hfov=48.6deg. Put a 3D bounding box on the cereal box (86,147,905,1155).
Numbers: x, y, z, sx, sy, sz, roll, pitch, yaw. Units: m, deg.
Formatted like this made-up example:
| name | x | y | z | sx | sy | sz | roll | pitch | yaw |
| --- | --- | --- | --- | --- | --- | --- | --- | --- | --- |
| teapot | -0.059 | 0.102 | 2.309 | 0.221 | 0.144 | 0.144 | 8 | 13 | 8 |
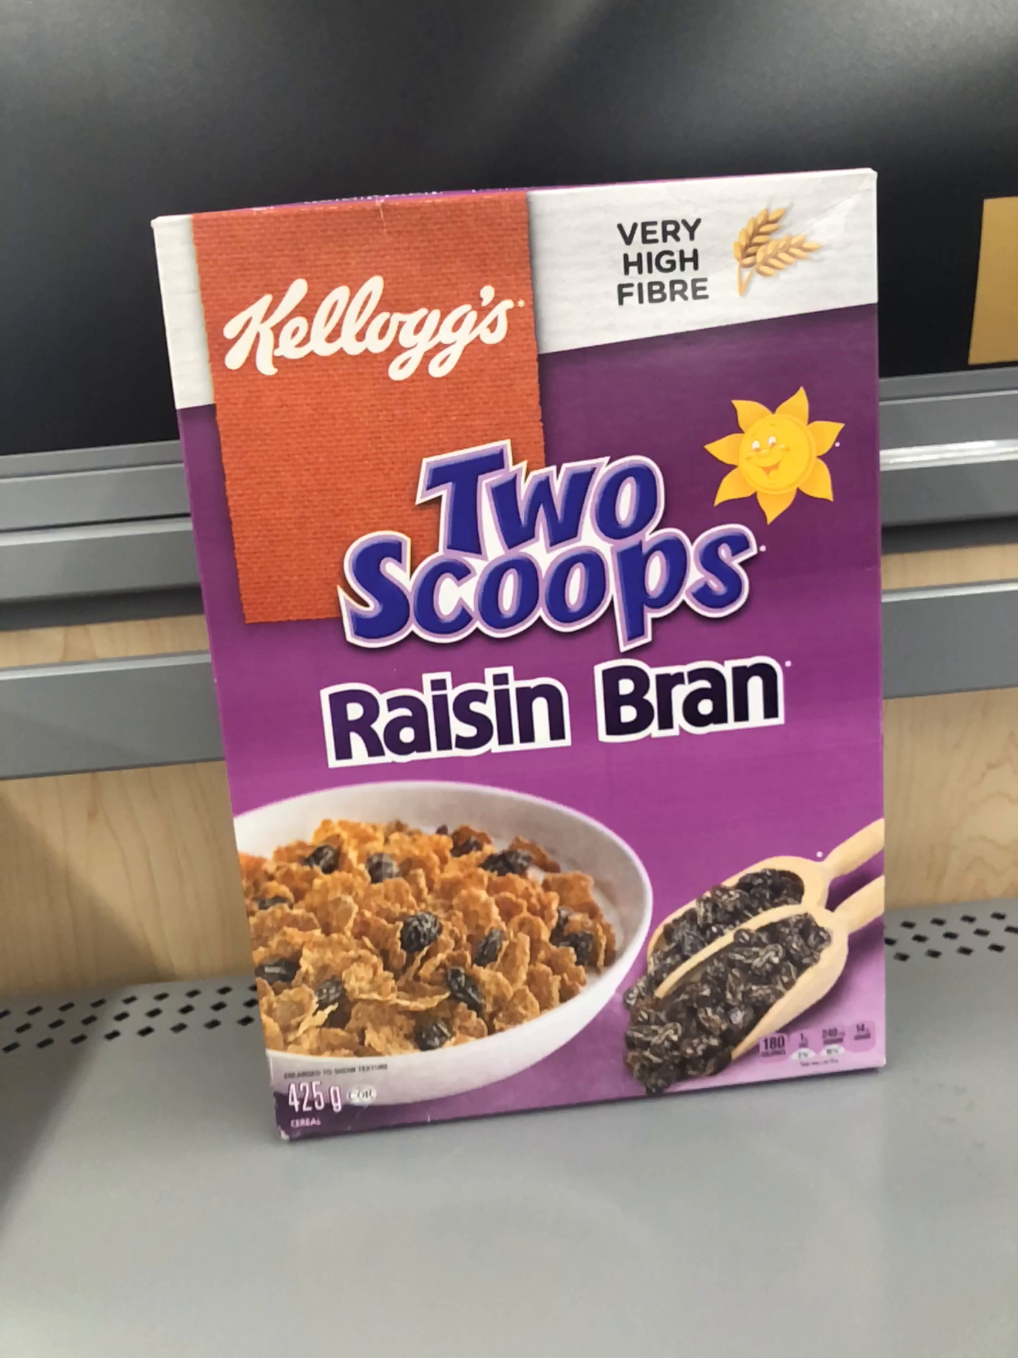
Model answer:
| name | x | y | z | sx | sy | sz | roll | pitch | yaw |
| --- | --- | --- | --- | --- | --- | --- | --- | --- | --- |
| cereal box | 0.006 | -0.004 | 0.342 | 0.210 | 0.269 | 0.050 | -5 | 12 | -4 |
